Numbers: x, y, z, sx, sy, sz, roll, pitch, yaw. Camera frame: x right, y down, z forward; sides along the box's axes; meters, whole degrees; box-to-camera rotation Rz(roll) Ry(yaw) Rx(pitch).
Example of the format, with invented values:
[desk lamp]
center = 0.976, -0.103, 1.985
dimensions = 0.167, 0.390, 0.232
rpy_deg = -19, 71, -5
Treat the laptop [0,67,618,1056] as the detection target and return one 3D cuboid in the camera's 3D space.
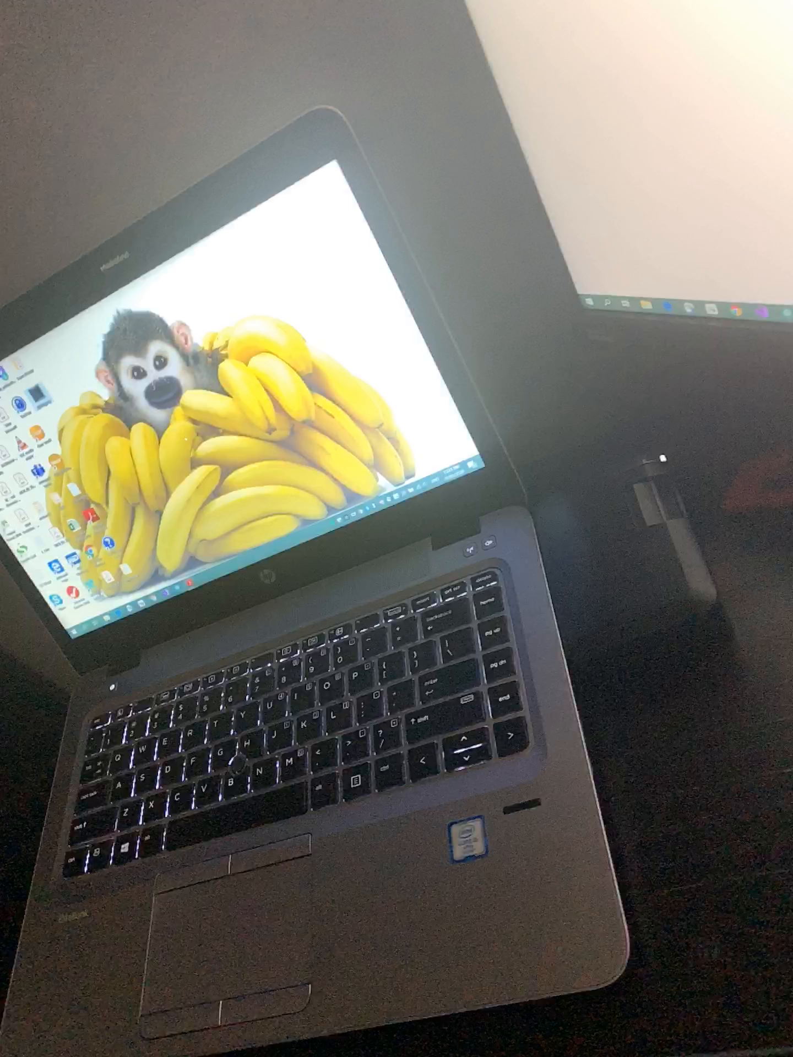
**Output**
[laptop]
center = -0.117, 0.026, 0.389
dimensions = 0.318, 0.191, 0.327
rpy_deg = -23, 45, 20
